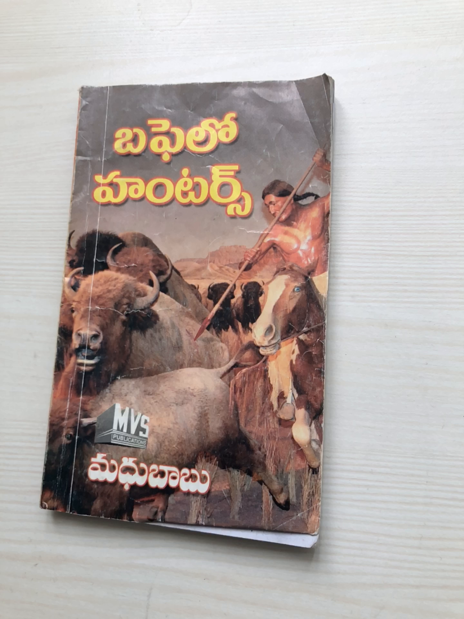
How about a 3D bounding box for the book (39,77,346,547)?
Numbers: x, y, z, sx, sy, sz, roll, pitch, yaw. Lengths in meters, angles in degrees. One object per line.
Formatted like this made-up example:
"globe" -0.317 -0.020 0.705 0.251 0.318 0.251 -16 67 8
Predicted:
"book" -0.013 -0.002 0.185 0.100 0.020 0.150 2 87 11
